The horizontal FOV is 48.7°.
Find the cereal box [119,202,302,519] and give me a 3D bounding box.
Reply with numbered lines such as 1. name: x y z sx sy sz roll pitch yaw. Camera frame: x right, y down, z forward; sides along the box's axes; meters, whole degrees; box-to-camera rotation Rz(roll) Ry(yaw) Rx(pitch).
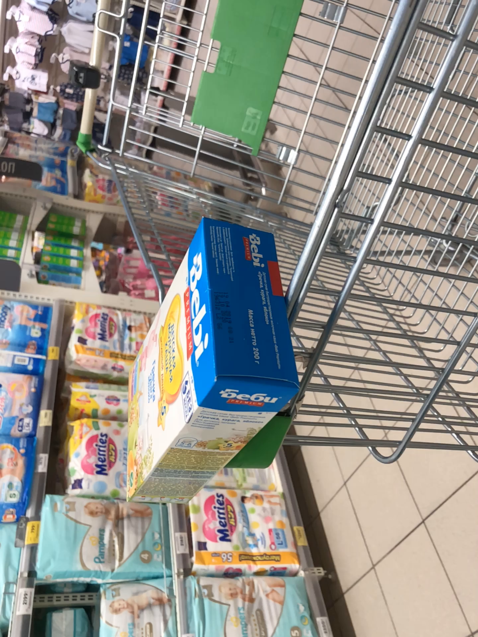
1. cereal box: -0.037 0.045 0.386 0.211 0.050 0.140 125 148 -47
